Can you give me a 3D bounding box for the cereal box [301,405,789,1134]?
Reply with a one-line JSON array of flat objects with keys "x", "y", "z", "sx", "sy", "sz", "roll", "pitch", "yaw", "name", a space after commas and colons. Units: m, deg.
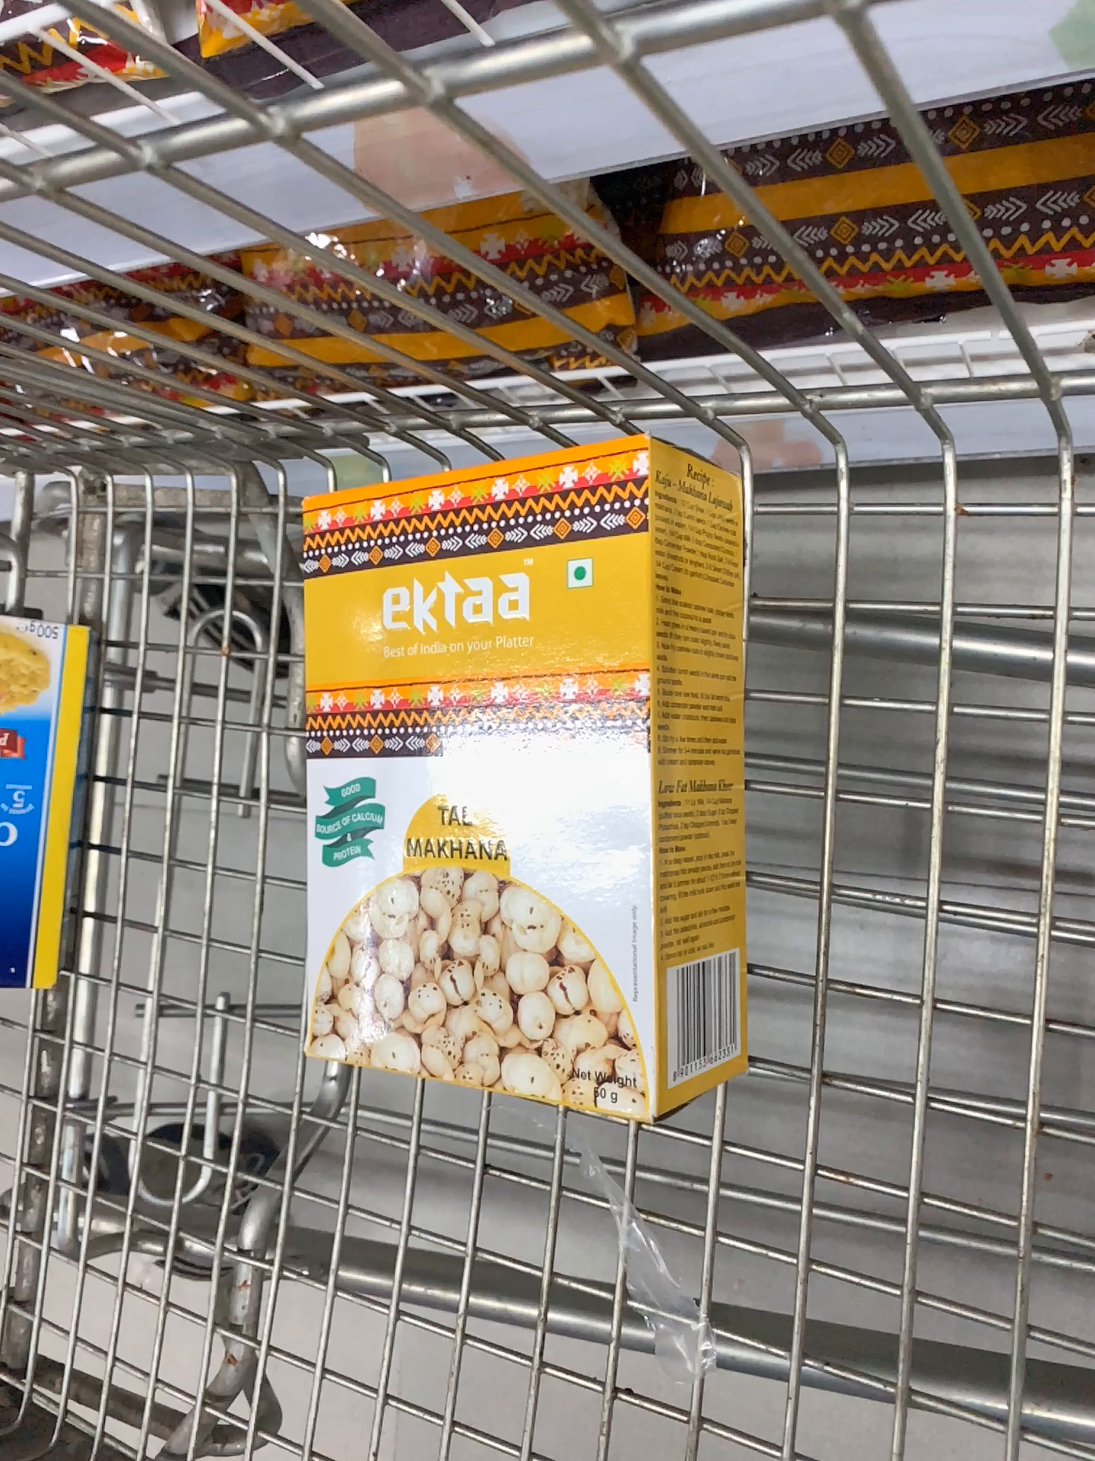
[{"x": -0.003, "y": 0.011, "z": 0.344, "sx": 0.131, "sy": 0.070, "sz": 0.180, "roll": -1, "pitch": 90, "yaw": 35, "name": "cereal box"}]
